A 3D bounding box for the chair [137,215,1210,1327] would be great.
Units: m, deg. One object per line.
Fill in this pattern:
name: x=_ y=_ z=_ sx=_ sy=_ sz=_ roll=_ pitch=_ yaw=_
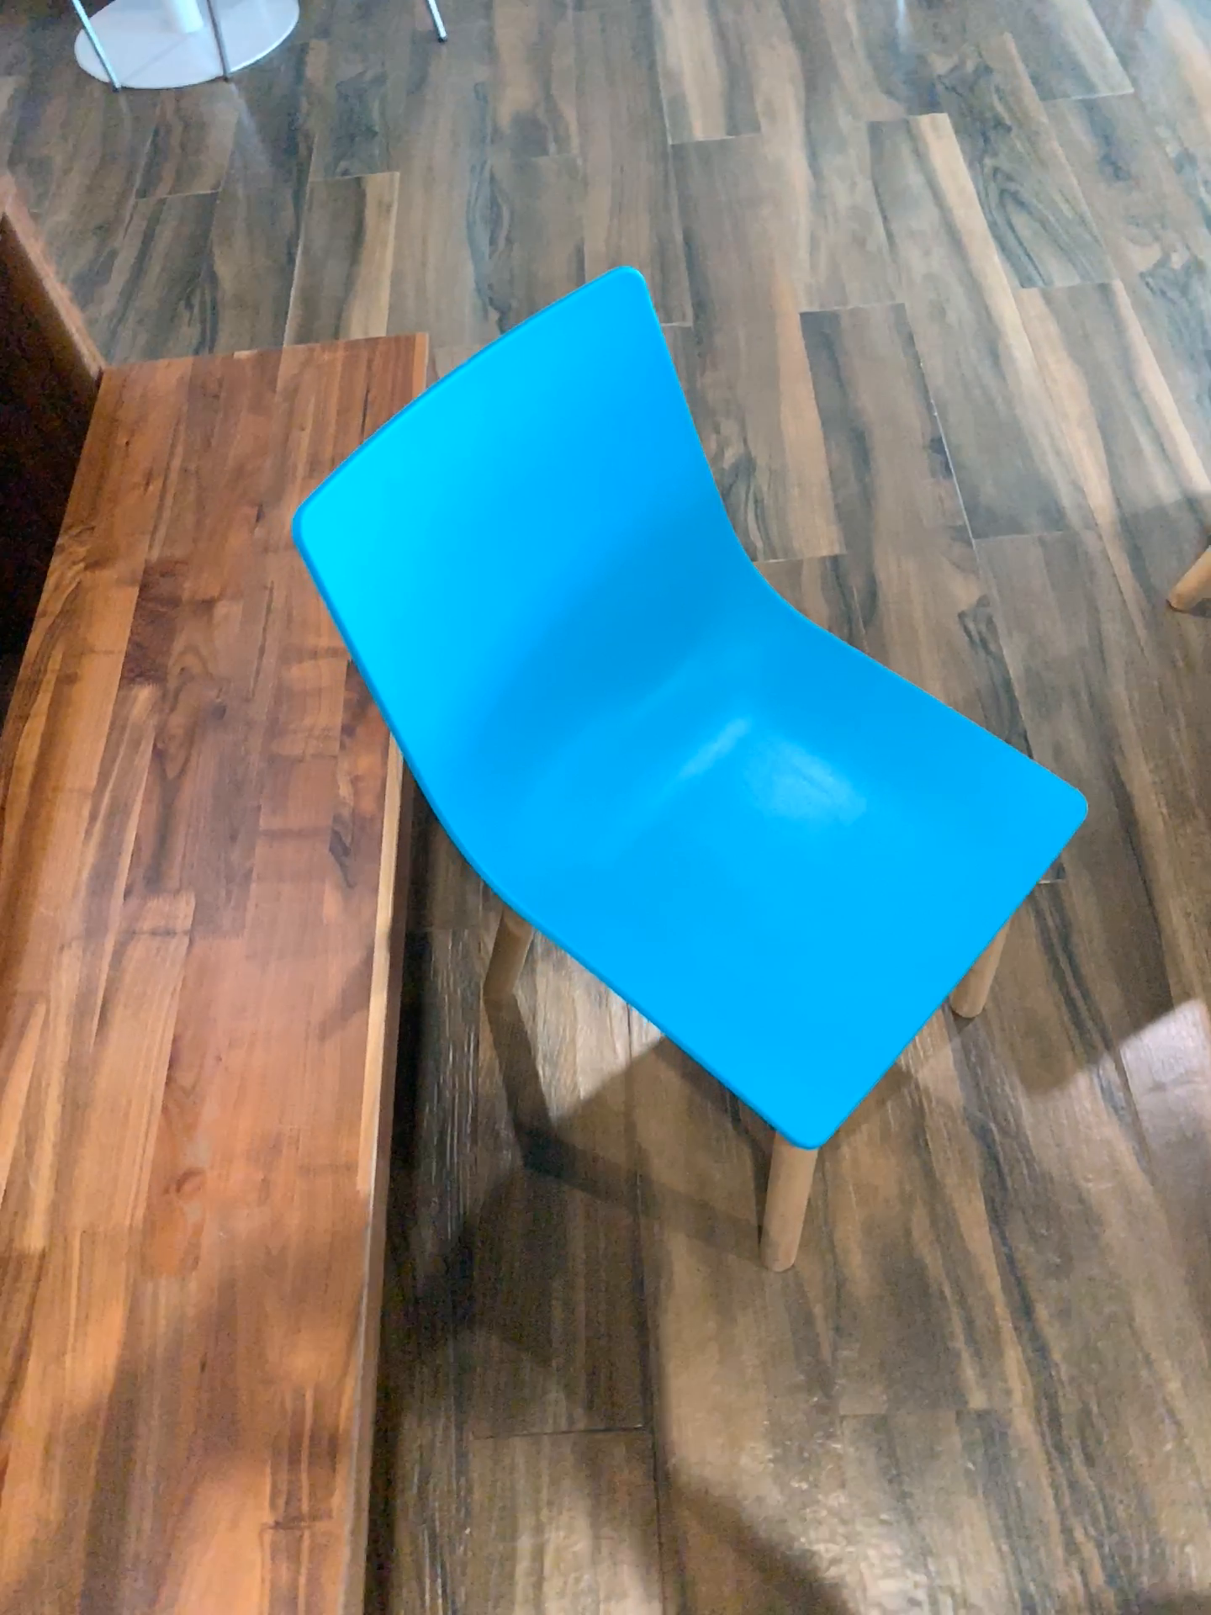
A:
chair: x=0.082 y=-0.006 z=1.118 sx=0.582 sy=0.666 sz=0.511 roll=36 pitch=67 yaw=25
